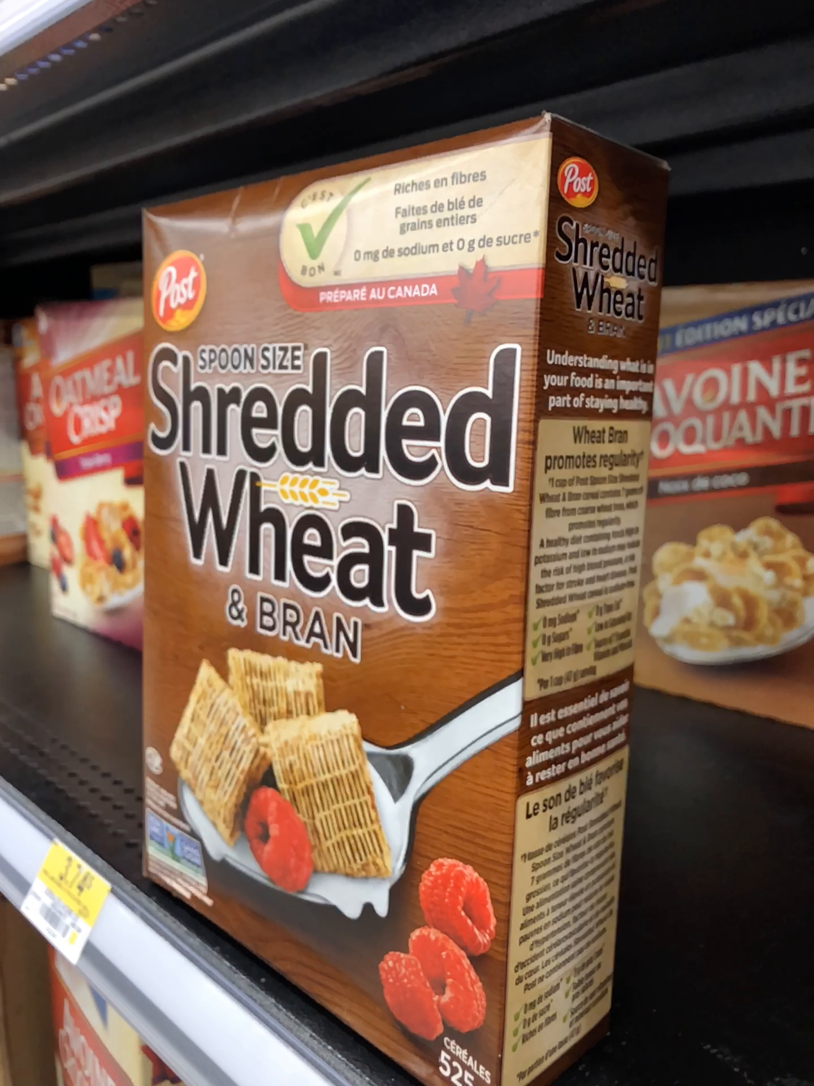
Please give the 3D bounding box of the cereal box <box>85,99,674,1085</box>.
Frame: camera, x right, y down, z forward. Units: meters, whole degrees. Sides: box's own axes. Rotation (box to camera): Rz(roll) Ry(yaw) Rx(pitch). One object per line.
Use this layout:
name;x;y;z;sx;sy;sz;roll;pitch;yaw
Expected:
cereal box;-0.029;0.014;0.312;0.210;0.259;0.060;10;12;43
